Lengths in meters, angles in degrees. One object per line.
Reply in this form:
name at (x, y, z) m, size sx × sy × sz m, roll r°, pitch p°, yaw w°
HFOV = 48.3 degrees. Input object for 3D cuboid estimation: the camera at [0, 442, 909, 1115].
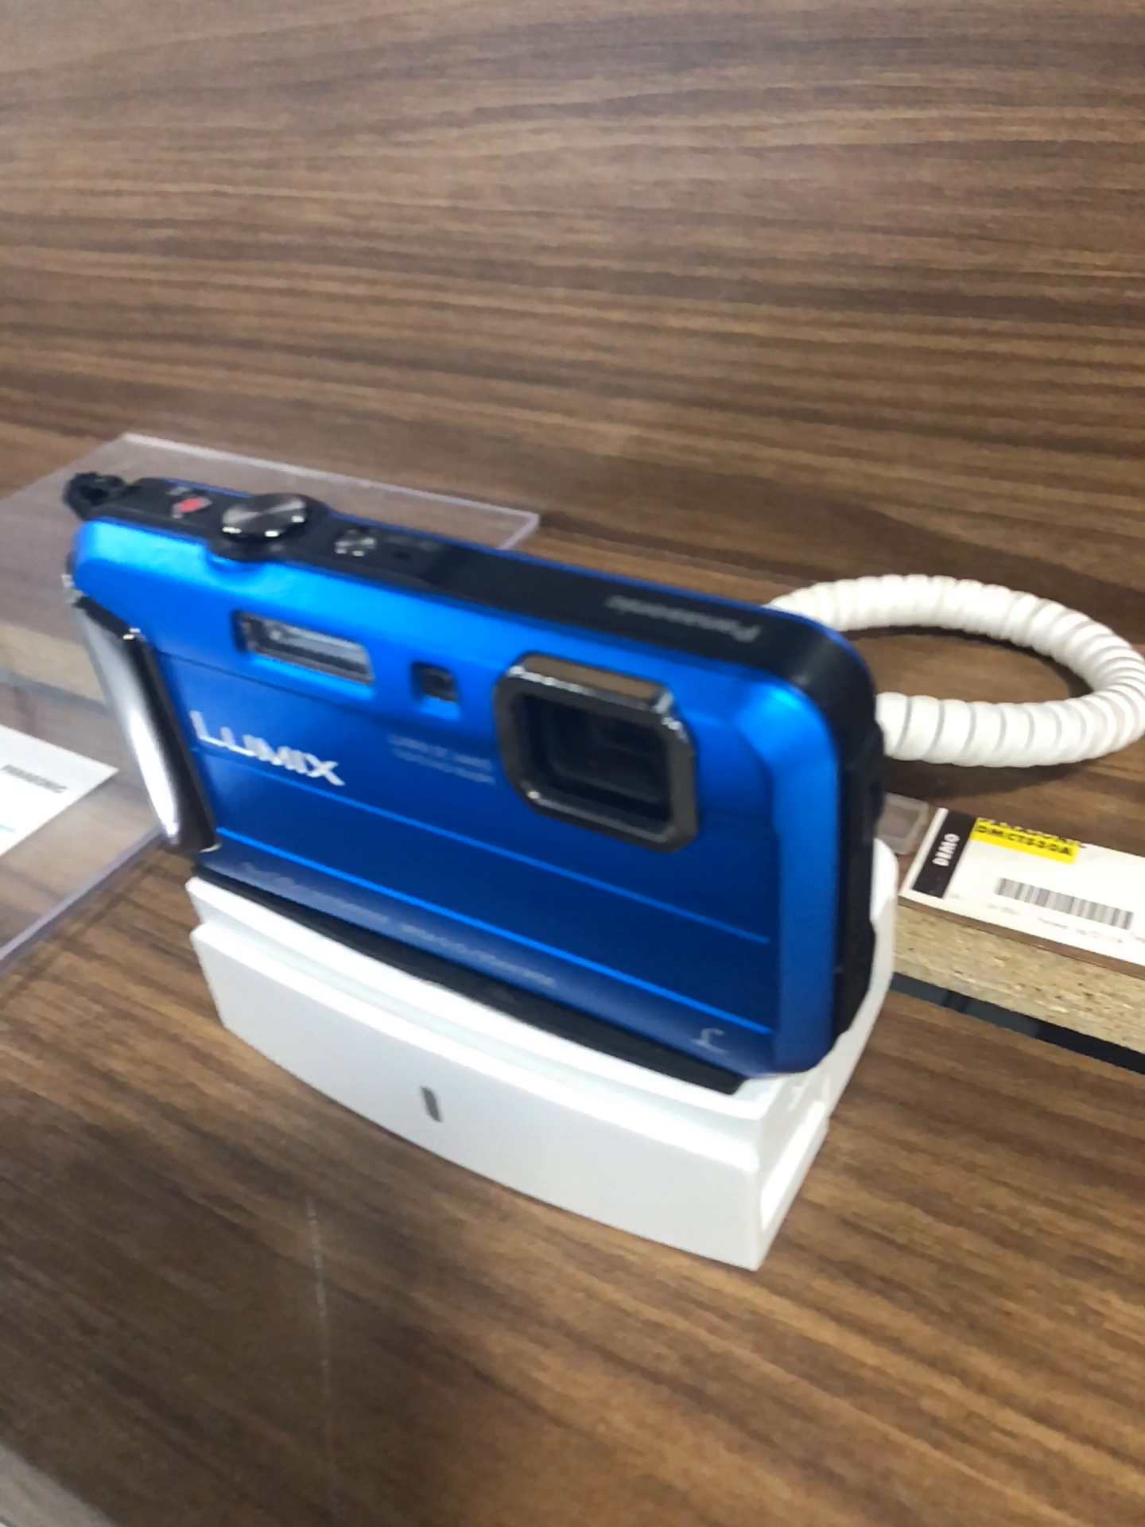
camera at (-0.016, -0.002, 0.147) m, size 0.101 × 0.051 × 0.023 m, roll 16°, pitch 46°, yaw 26°
